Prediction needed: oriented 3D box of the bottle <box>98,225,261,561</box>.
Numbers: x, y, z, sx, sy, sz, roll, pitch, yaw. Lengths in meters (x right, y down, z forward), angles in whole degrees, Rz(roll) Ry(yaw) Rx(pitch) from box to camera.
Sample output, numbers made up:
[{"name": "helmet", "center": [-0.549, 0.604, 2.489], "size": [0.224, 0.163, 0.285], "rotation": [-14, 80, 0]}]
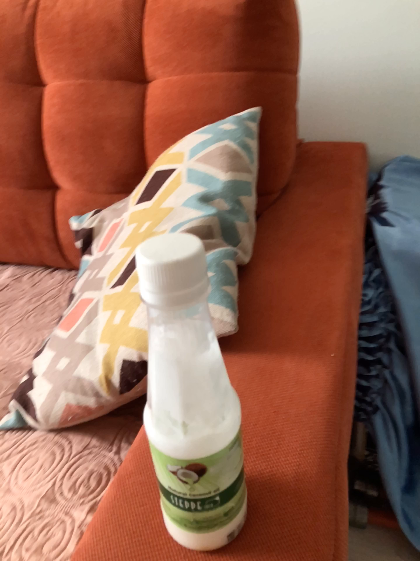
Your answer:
[{"name": "bottle", "center": [-0.006, 0.066, 0.244], "size": [0.060, 0.179, 0.060], "rotation": [-2, 29, 1]}]
